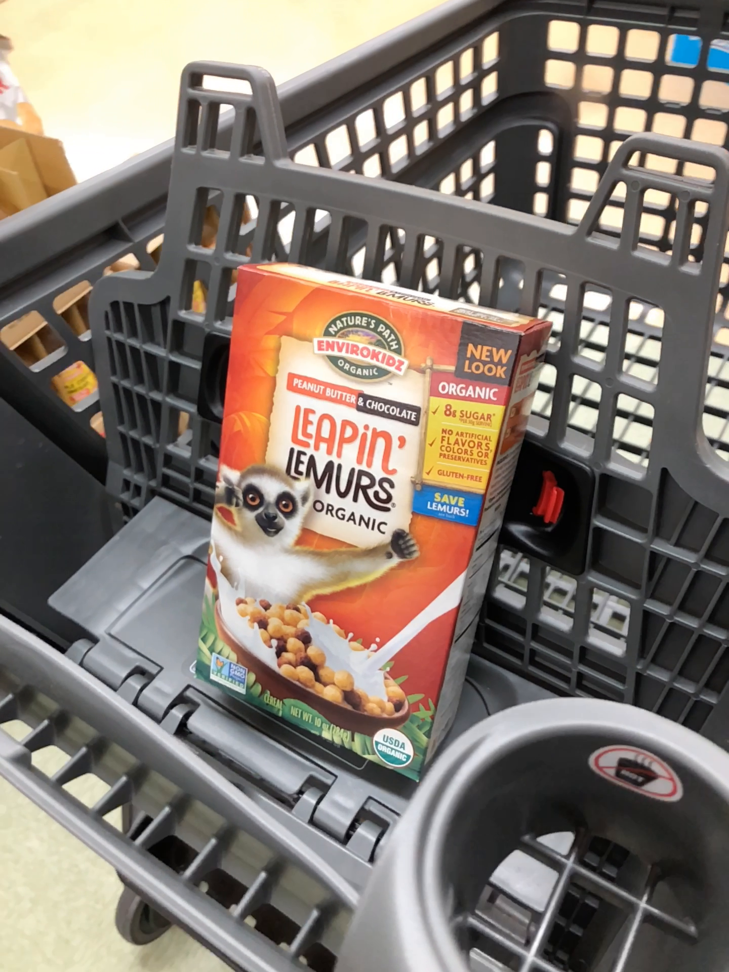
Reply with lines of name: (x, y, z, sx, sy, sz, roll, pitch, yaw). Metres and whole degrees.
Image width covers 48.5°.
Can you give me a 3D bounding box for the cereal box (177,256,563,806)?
cereal box: (-0.007, 0.020, 0.451, 0.160, 0.260, 0.070, 18, 21, 22)
